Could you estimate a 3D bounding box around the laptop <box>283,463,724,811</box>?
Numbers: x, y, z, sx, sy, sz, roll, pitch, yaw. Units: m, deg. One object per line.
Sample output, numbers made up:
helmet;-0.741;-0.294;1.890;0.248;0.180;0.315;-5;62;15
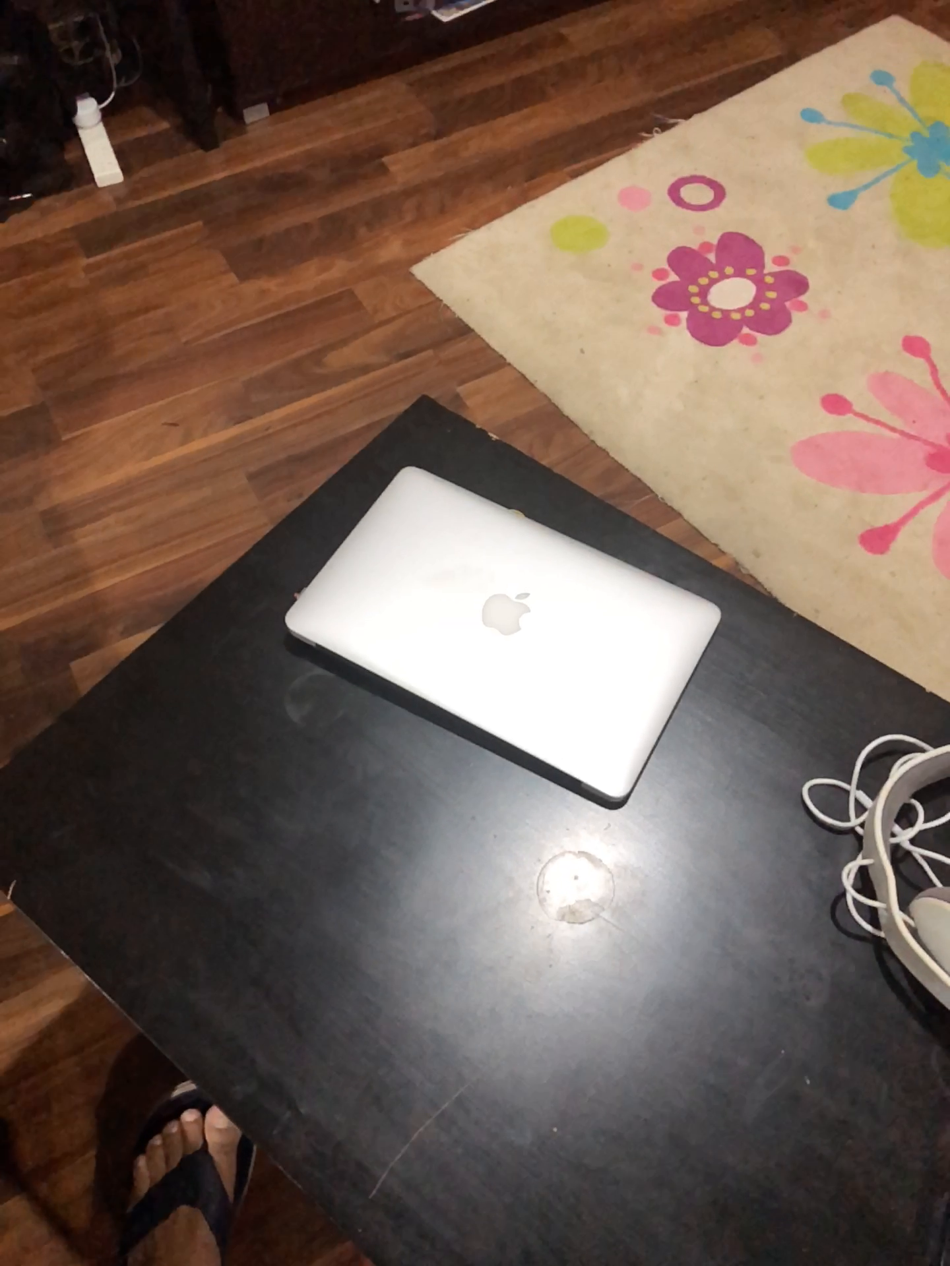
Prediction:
laptop;0.024;-0.008;0.847;0.300;0.011;0.190;27;66;13
